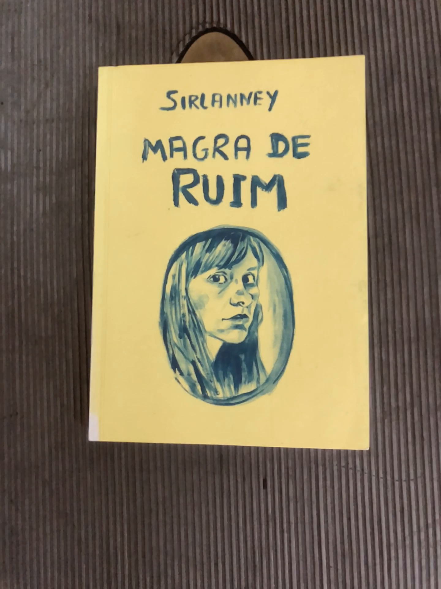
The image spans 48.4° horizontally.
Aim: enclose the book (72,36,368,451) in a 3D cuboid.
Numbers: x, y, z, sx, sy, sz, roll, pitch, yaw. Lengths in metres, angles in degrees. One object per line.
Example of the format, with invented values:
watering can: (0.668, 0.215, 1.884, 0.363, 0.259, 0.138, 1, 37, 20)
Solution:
book: (0.000, -0.028, 0.264, 0.150, 0.020, 0.210, 1, 87, 5)
